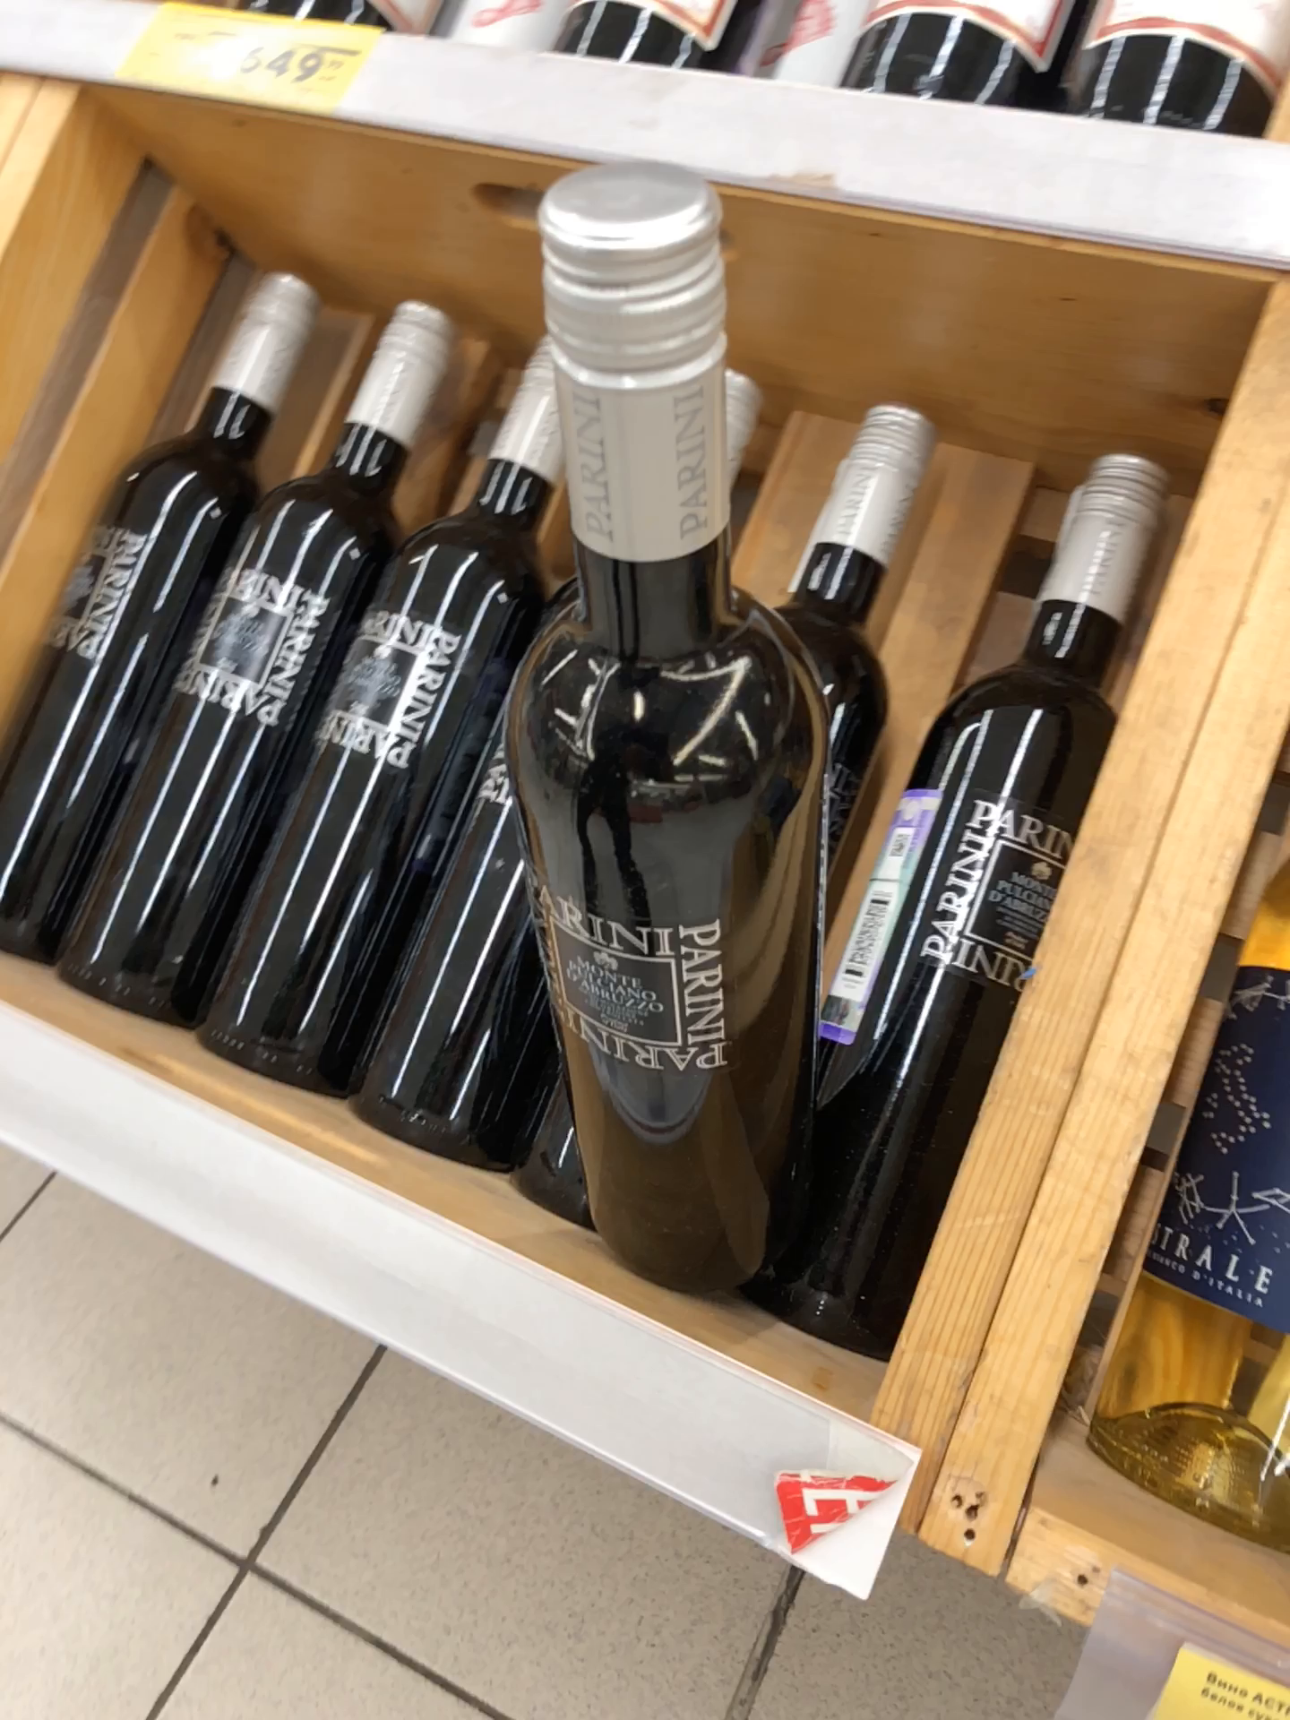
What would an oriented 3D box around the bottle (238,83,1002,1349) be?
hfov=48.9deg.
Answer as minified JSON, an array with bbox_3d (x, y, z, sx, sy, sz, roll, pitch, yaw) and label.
[{"bbox_3d":[0.002,-0.006,0.324,0.090,0.279,0.080,28,54,26],"label":"bottle"}]
